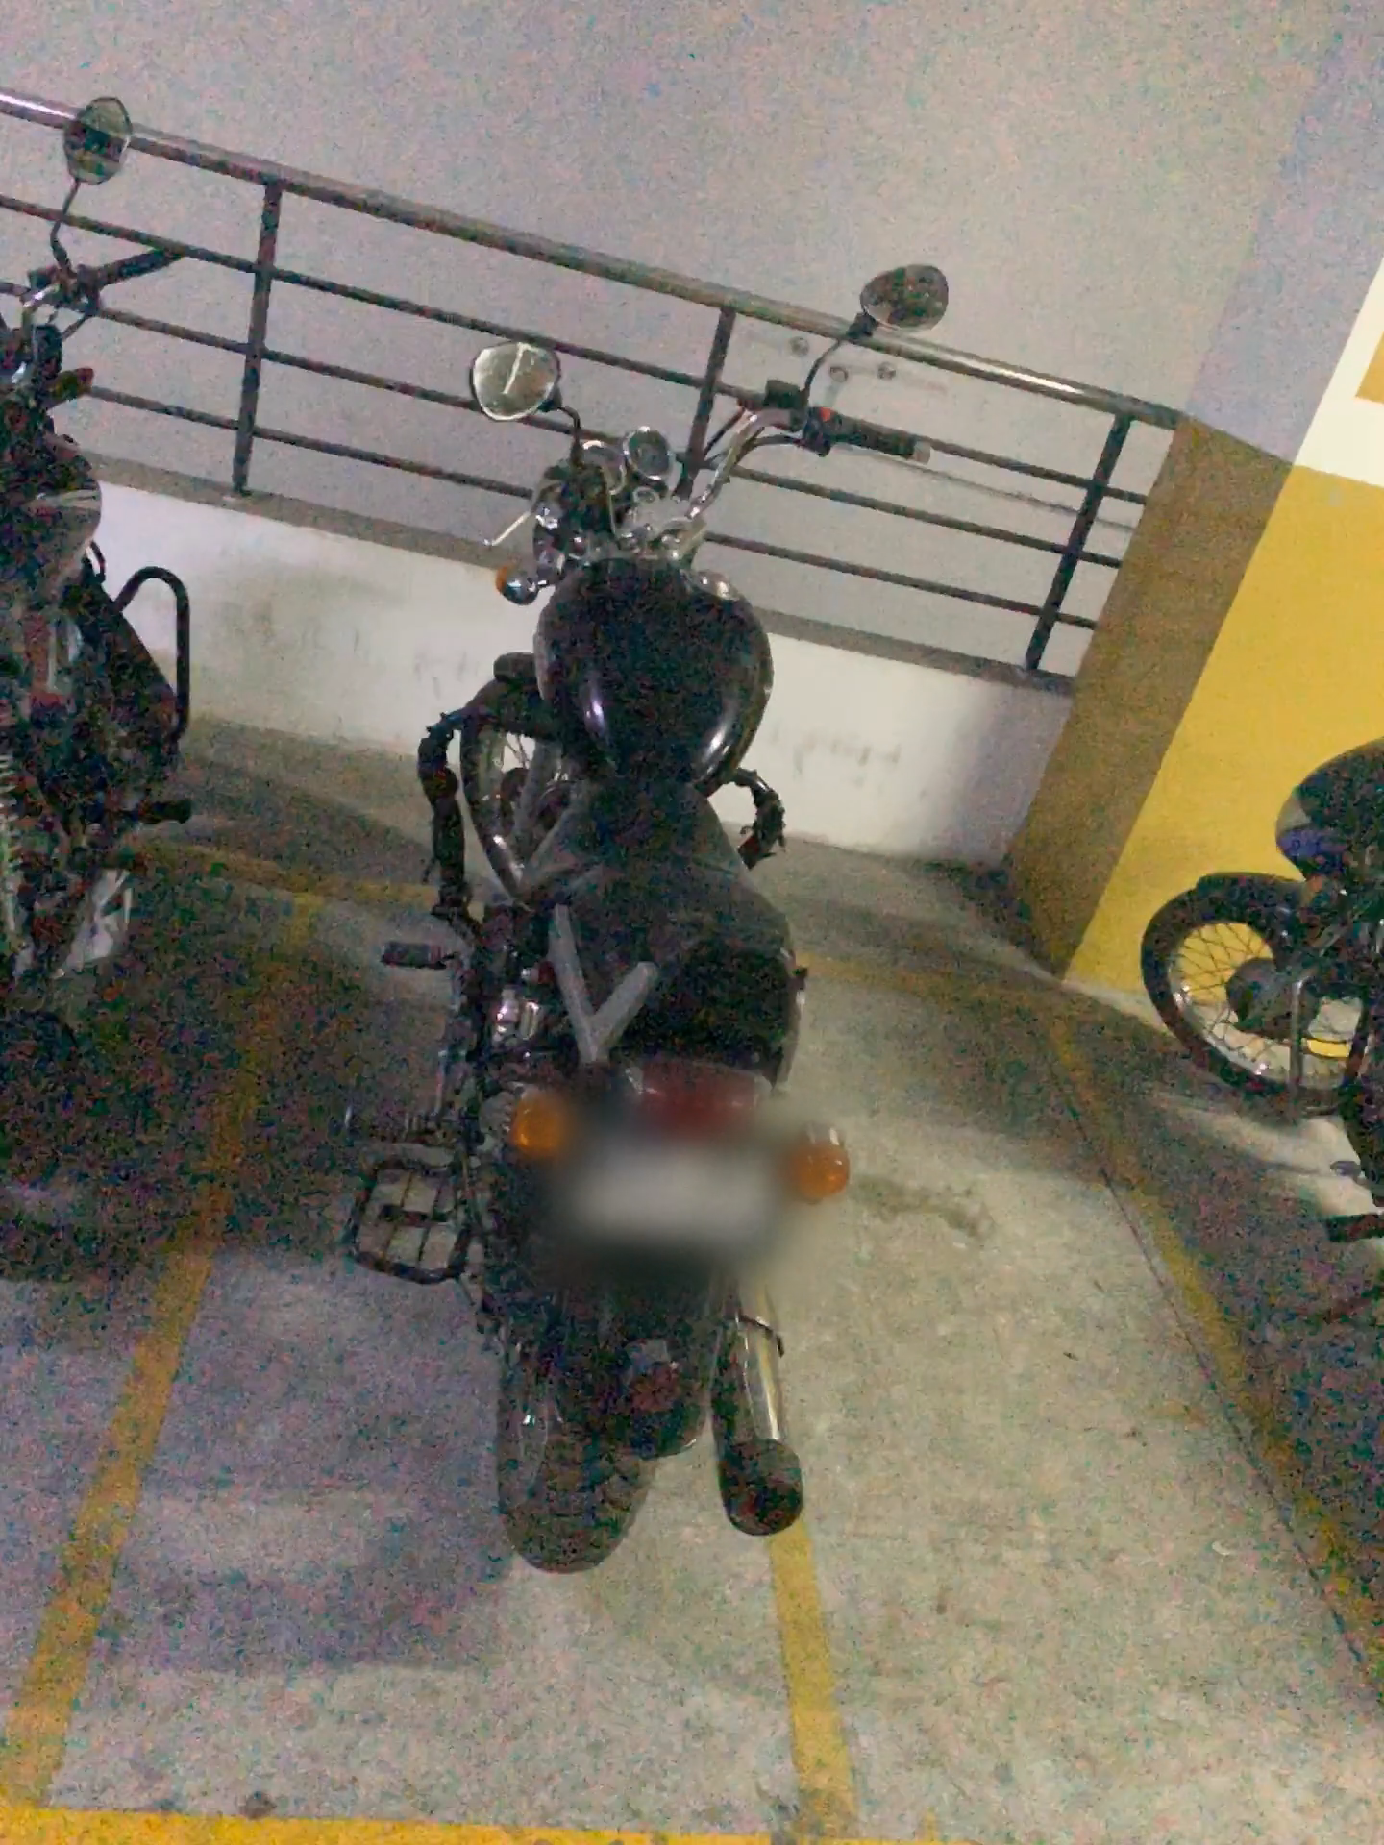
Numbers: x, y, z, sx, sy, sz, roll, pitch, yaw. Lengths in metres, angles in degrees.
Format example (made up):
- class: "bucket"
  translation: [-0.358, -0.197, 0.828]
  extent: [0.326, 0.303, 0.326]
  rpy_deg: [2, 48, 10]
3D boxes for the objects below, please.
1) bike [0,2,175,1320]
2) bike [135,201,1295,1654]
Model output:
- class: "bike"
  translation: [-1.365, -0.554, 2.247]
  extent: [0.719, 1.277, 1.572]
  rpy_deg: [9, 32, -14]
- class: "bike"
  translation: [-0.245, -0.182, 2.117]
  extent: [0.851, 1.232, 1.807]
  rpy_deg: [7, 30, -18]
